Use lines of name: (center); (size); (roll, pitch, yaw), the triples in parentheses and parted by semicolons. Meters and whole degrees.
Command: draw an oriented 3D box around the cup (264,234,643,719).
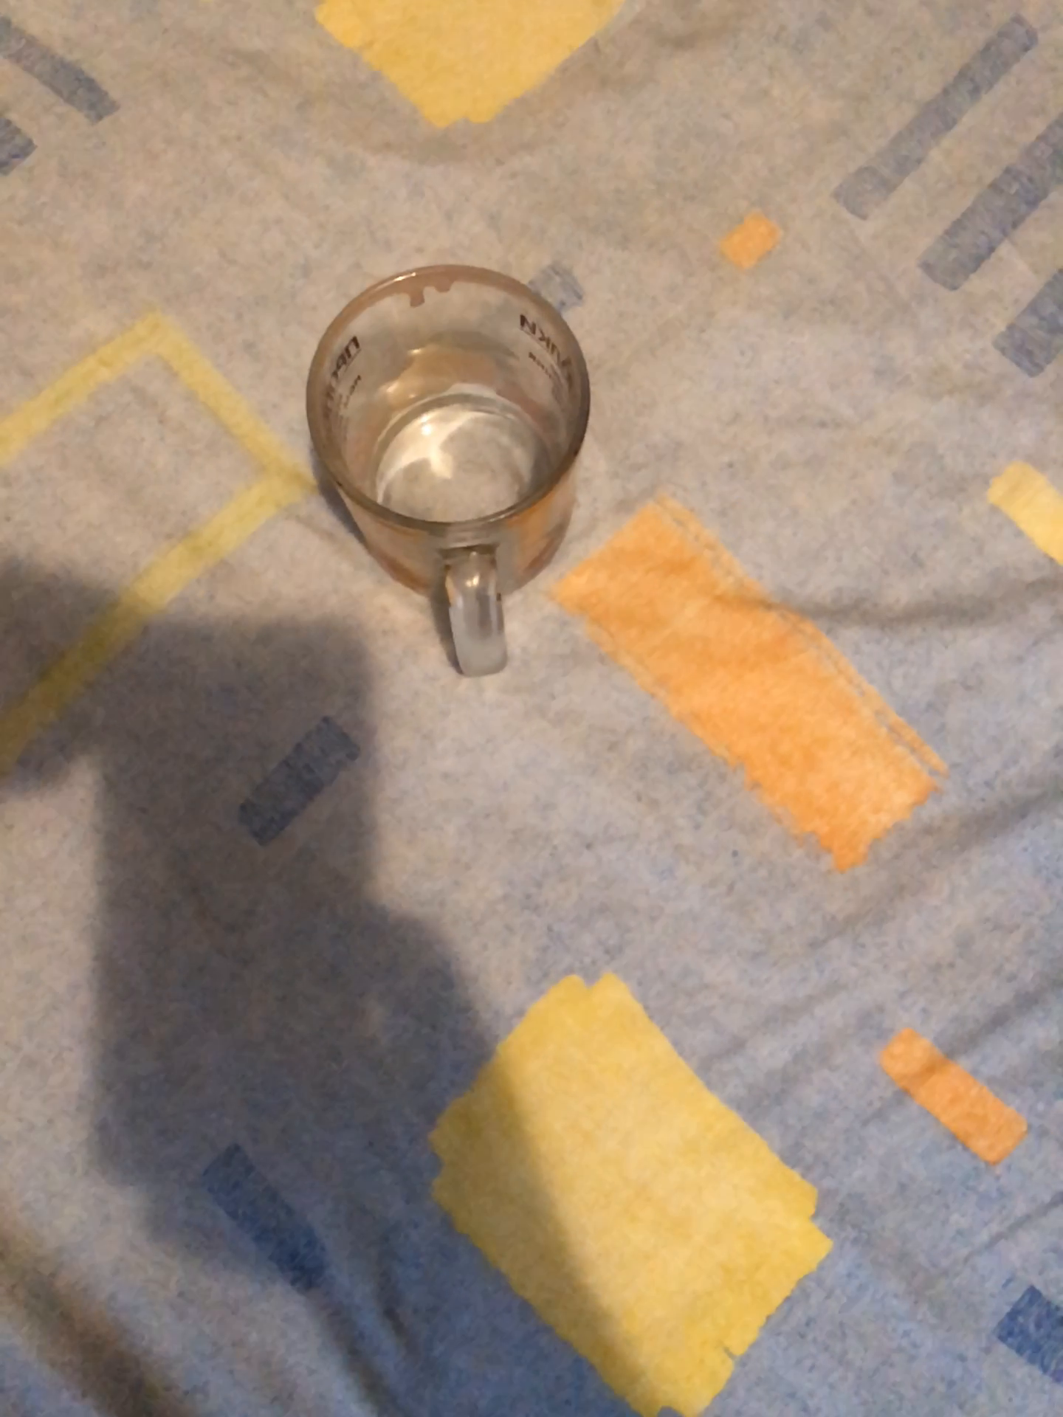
cup: (-0.023, -0.065, 0.368); (0.084, 0.092, 0.110); (-12, 81, -2)
